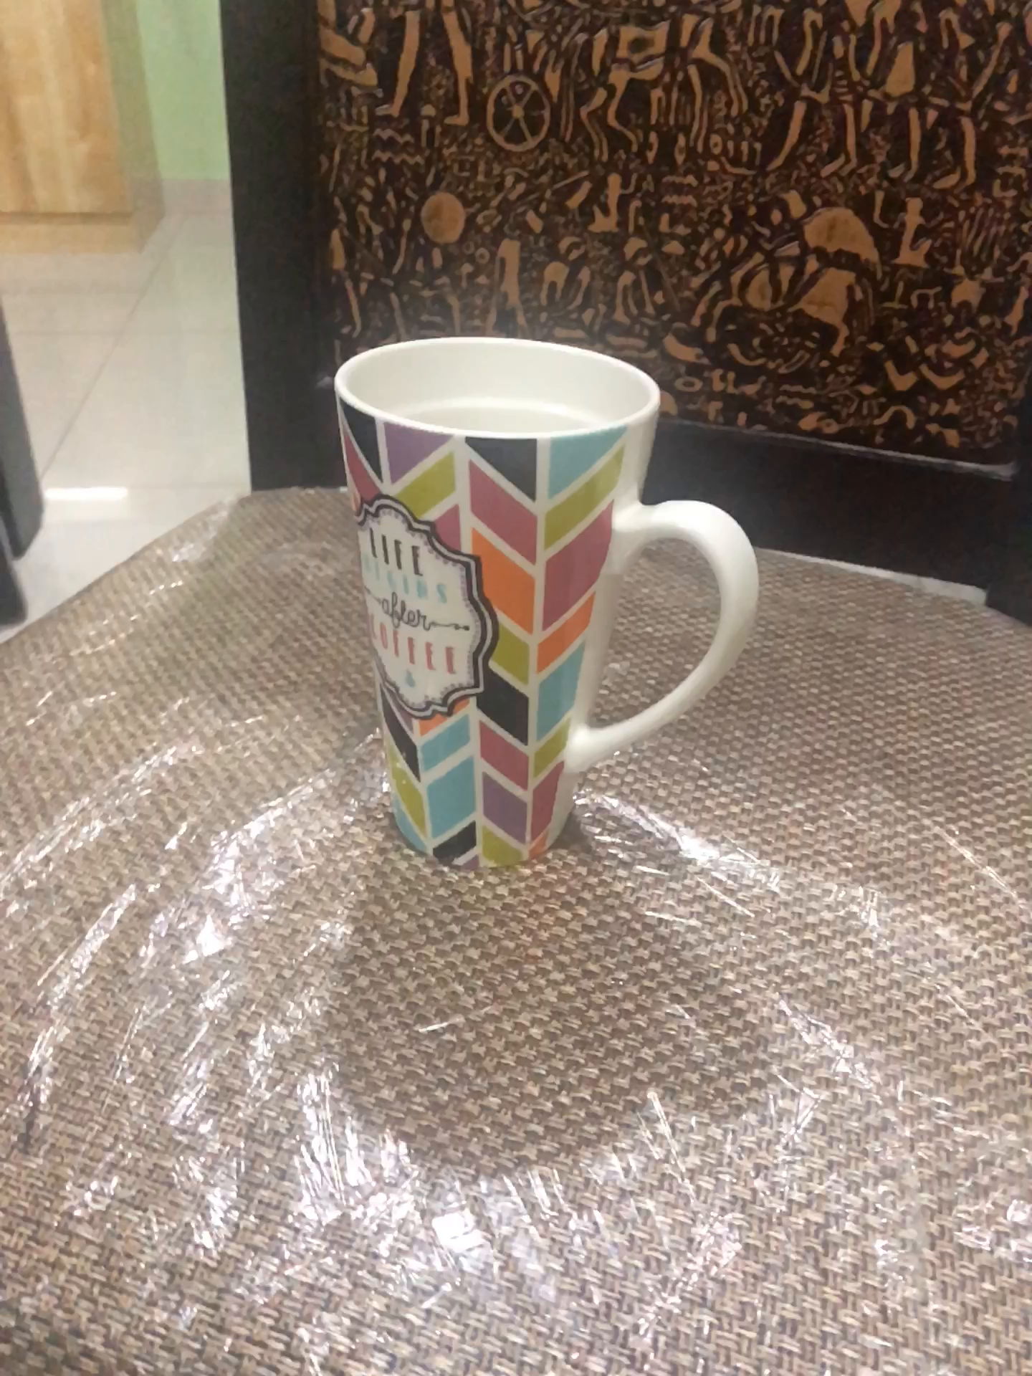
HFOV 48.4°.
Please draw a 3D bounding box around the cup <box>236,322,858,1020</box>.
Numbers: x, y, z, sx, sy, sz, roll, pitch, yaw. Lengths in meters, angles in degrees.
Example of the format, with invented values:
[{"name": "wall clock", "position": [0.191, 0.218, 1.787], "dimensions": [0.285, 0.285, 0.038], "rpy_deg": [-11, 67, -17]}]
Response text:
[{"name": "cup", "position": [0.004, -0.014, 0.327], "dimensions": [0.130, 0.139, 0.090], "rpy_deg": [24, 36, 30]}]
